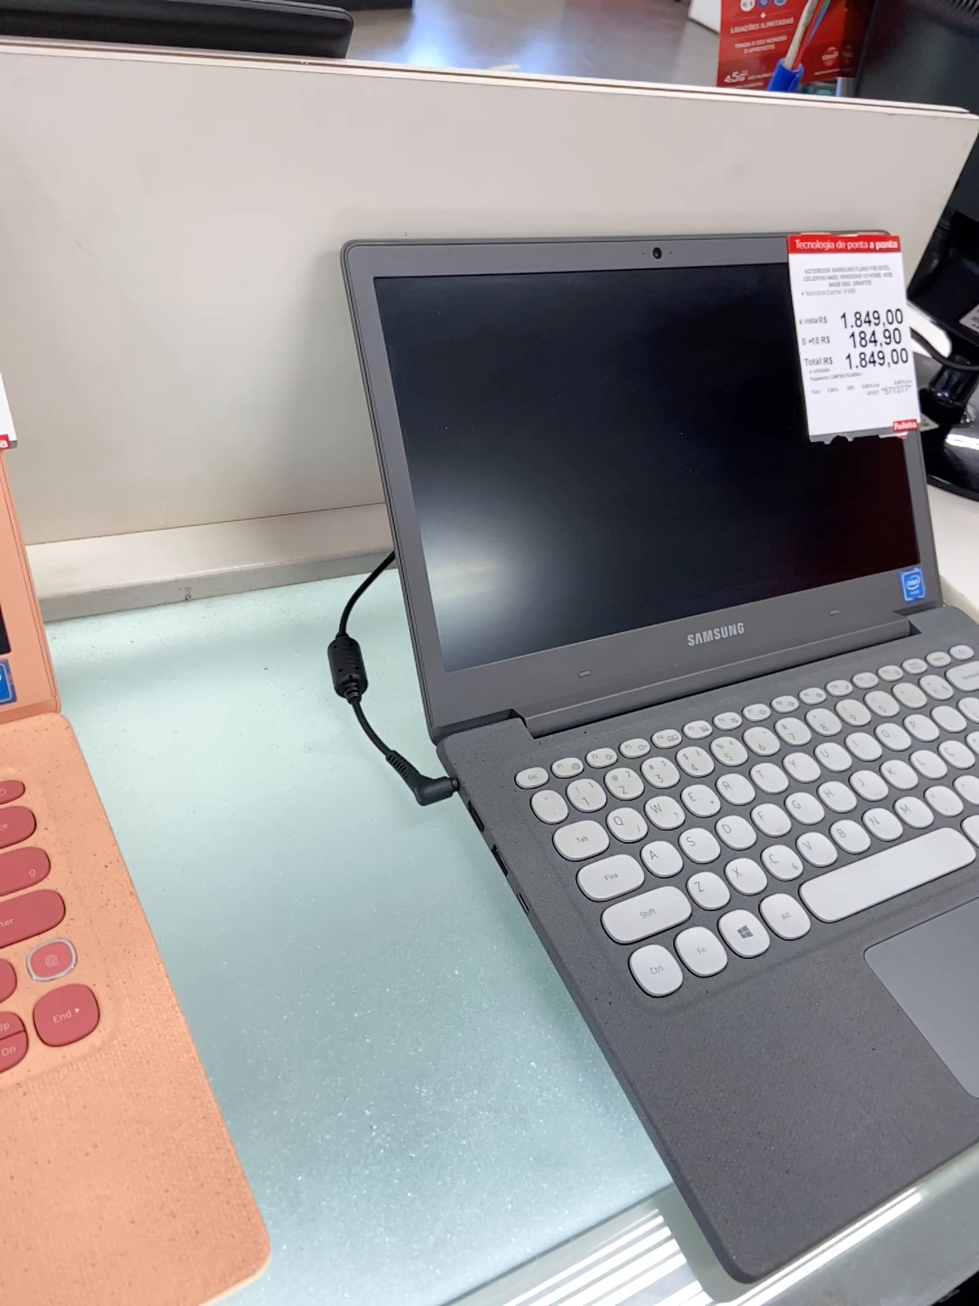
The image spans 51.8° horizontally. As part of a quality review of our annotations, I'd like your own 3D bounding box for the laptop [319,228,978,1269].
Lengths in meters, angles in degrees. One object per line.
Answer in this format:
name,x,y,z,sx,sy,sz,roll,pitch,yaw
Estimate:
laptop,0.146,-0.027,0.426,0.320,0.144,0.365,-12,49,-26
